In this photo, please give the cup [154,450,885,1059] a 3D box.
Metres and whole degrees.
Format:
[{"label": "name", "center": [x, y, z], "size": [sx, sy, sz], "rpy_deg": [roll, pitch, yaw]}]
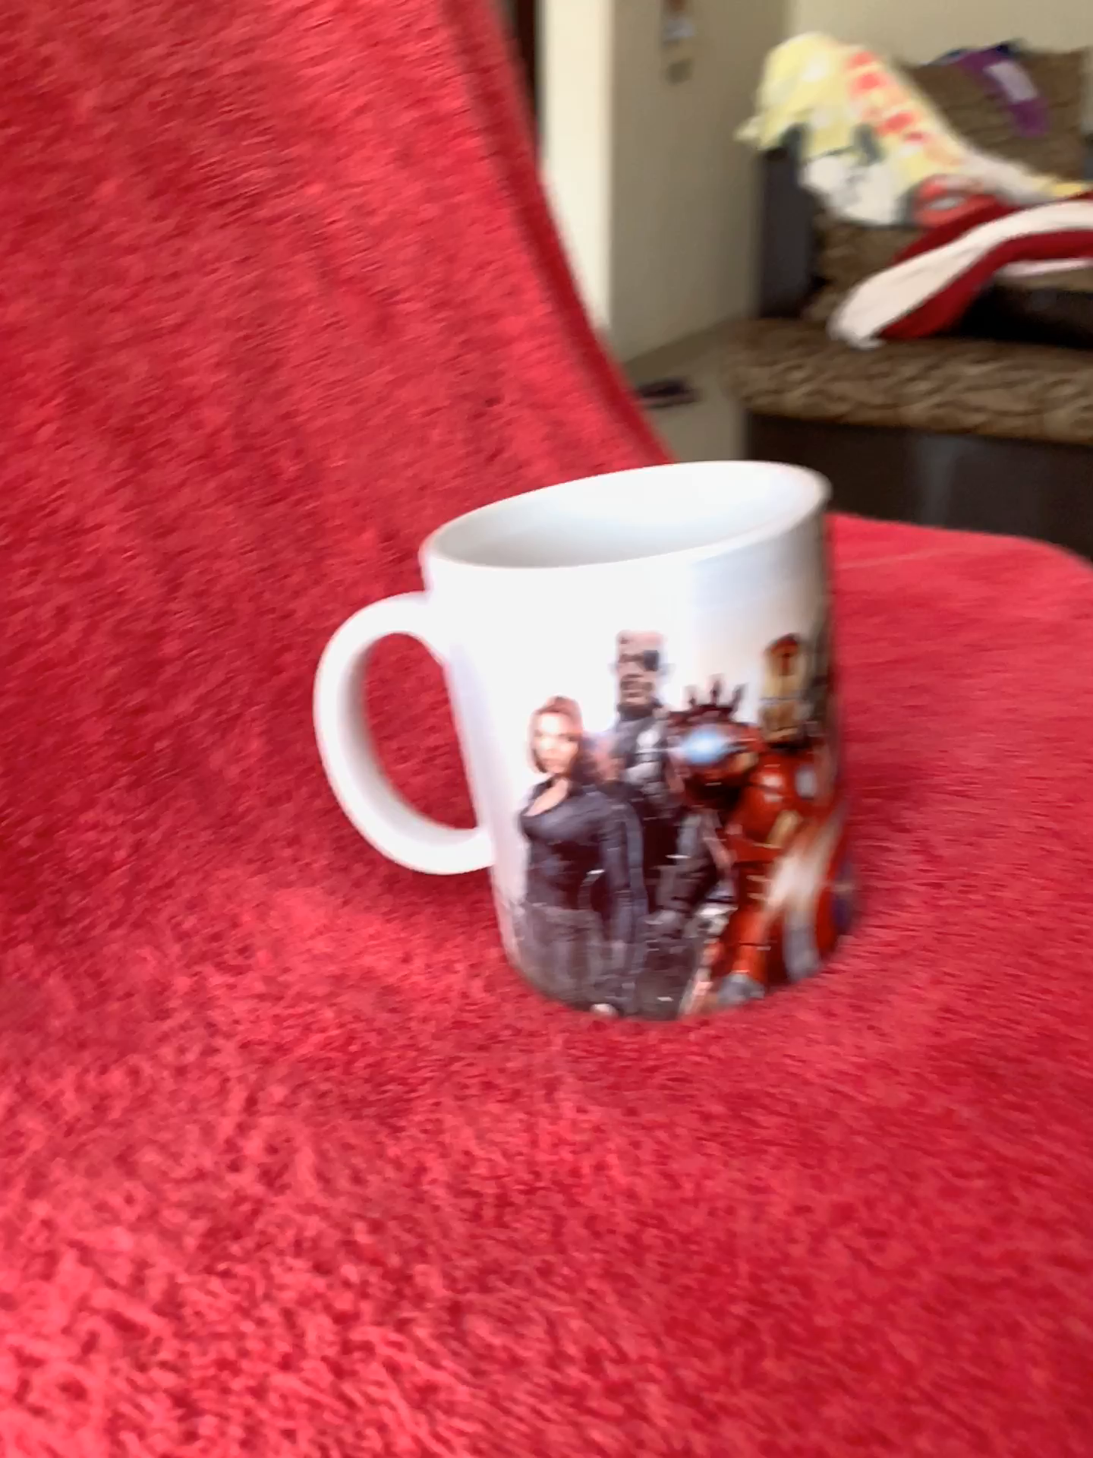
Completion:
[{"label": "cup", "center": [0.004, -0.004, 0.240], "size": [0.120, 0.089, 0.091], "rpy_deg": [2, 21, 23]}]
